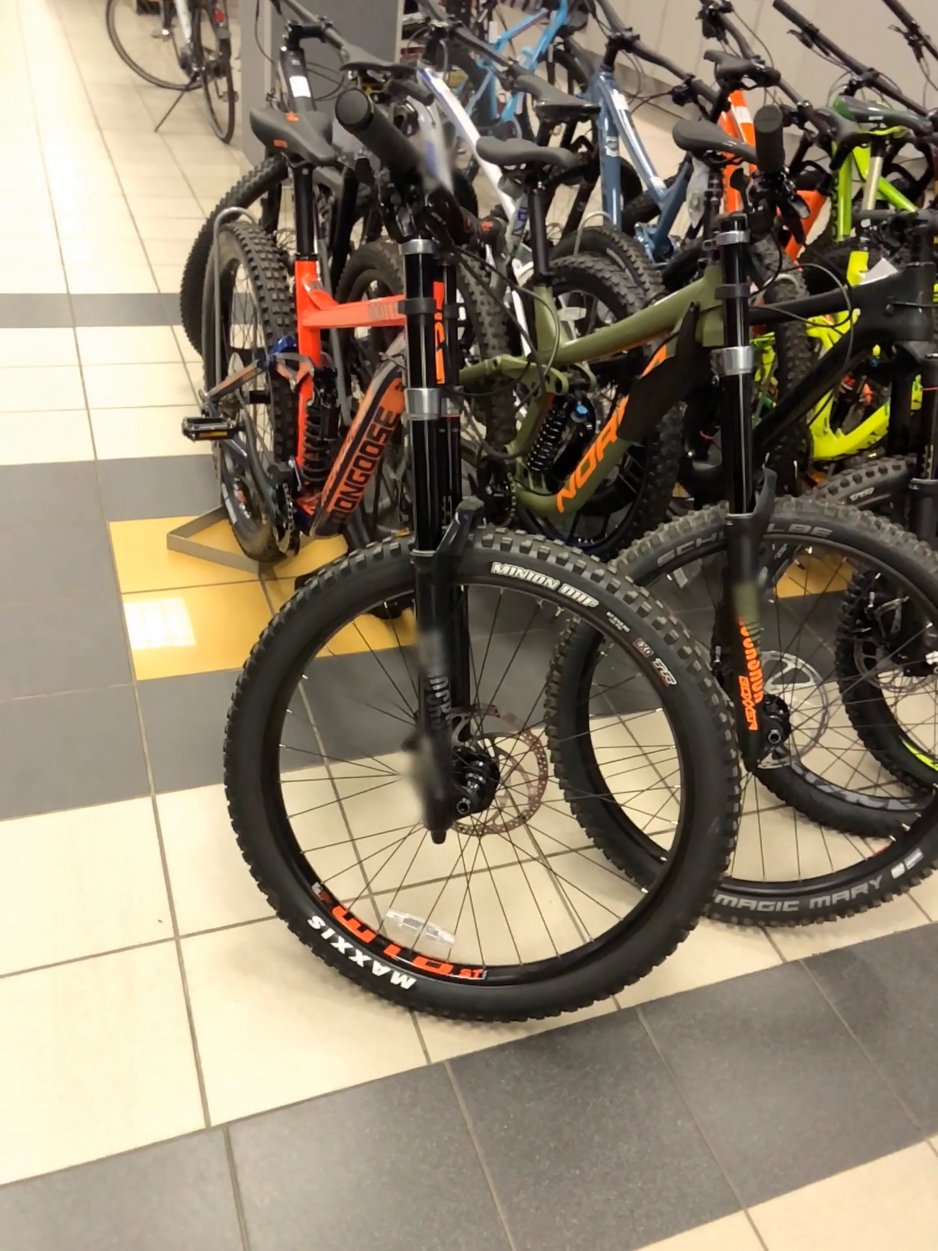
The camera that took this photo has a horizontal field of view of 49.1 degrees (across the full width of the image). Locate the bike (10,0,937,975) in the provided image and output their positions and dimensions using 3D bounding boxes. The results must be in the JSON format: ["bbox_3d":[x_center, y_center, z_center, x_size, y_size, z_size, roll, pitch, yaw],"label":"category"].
[{"bbox_3d":[-0.059,-0.449,1.777,0.802,1.108,1.703,-14,38,-29],"label":"bike"}]
